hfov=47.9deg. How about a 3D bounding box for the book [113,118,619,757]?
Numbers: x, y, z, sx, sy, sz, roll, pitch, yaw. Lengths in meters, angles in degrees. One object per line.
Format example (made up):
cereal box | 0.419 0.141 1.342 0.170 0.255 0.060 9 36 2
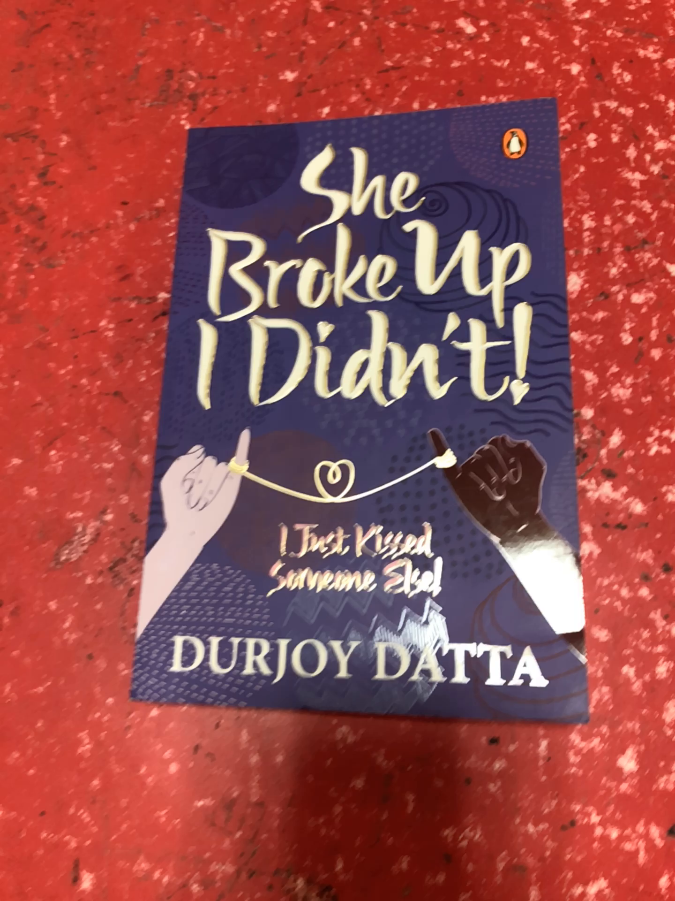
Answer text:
book | 0.010 -0.010 0.241 0.130 0.040 0.190 0 73 6
